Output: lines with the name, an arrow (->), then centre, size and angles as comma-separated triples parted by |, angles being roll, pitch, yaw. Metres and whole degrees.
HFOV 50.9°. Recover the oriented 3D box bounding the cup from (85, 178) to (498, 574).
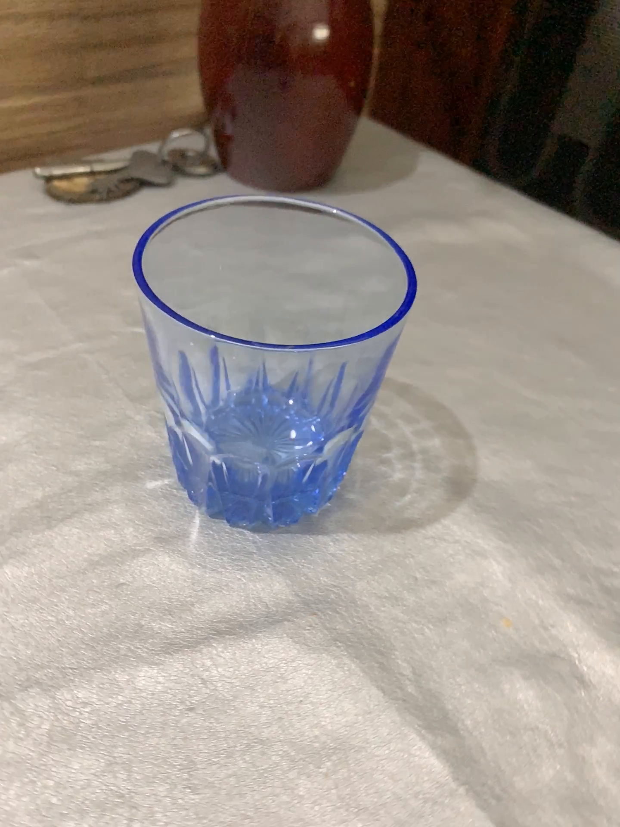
cup -> -0.008, -0.012, 0.198 | 0.090, 0.070, 0.090 | 5, 45, -5
